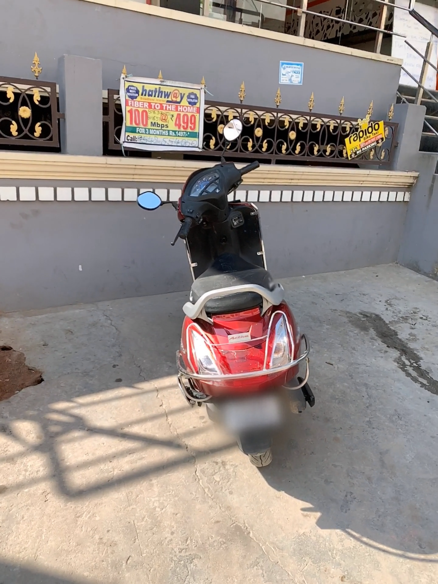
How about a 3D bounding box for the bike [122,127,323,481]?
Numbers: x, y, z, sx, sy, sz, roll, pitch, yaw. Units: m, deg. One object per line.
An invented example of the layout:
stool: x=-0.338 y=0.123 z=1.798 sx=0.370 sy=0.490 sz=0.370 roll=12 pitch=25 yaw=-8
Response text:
bike: x=-0.170 y=-0.169 z=2.365 sx=0.622 sy=1.164 sz=1.762 roll=1 pitch=22 yaw=-10
